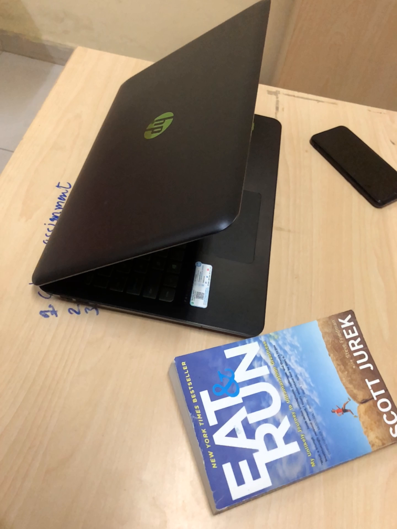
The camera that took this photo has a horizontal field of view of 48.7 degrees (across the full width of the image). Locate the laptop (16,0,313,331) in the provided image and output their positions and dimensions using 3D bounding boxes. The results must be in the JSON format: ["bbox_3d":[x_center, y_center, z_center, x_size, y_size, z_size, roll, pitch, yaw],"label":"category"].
[{"bbox_3d":[-0.008,-0.143,0.509,0.230,0.167,0.361,11,56,-1],"label":"laptop"}]
